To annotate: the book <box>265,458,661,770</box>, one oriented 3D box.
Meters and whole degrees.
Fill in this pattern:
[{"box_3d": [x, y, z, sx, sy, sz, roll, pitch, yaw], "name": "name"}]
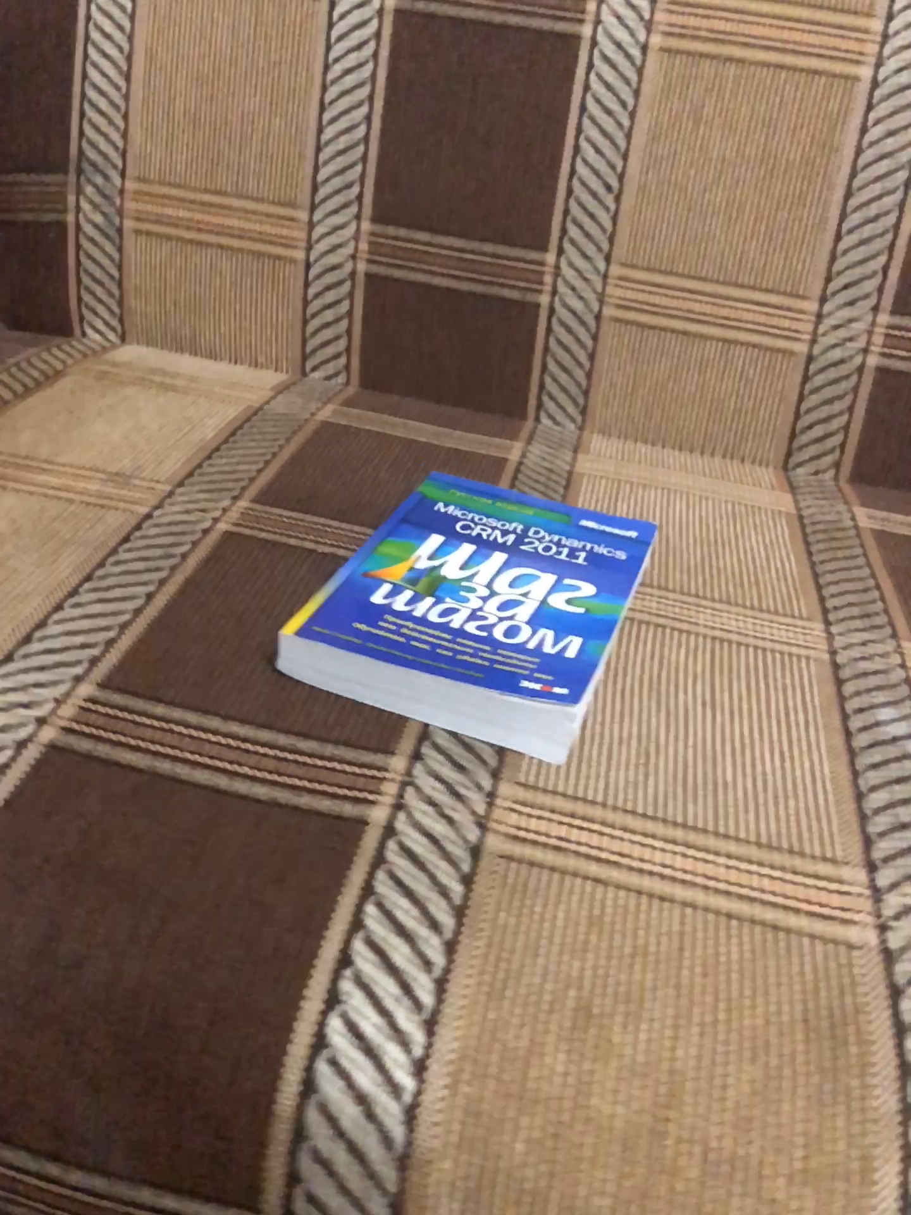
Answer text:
[{"box_3d": [0.015, -0.011, 0.530, 0.151, 0.030, 0.201, 16, 34, 13], "name": "book"}]
